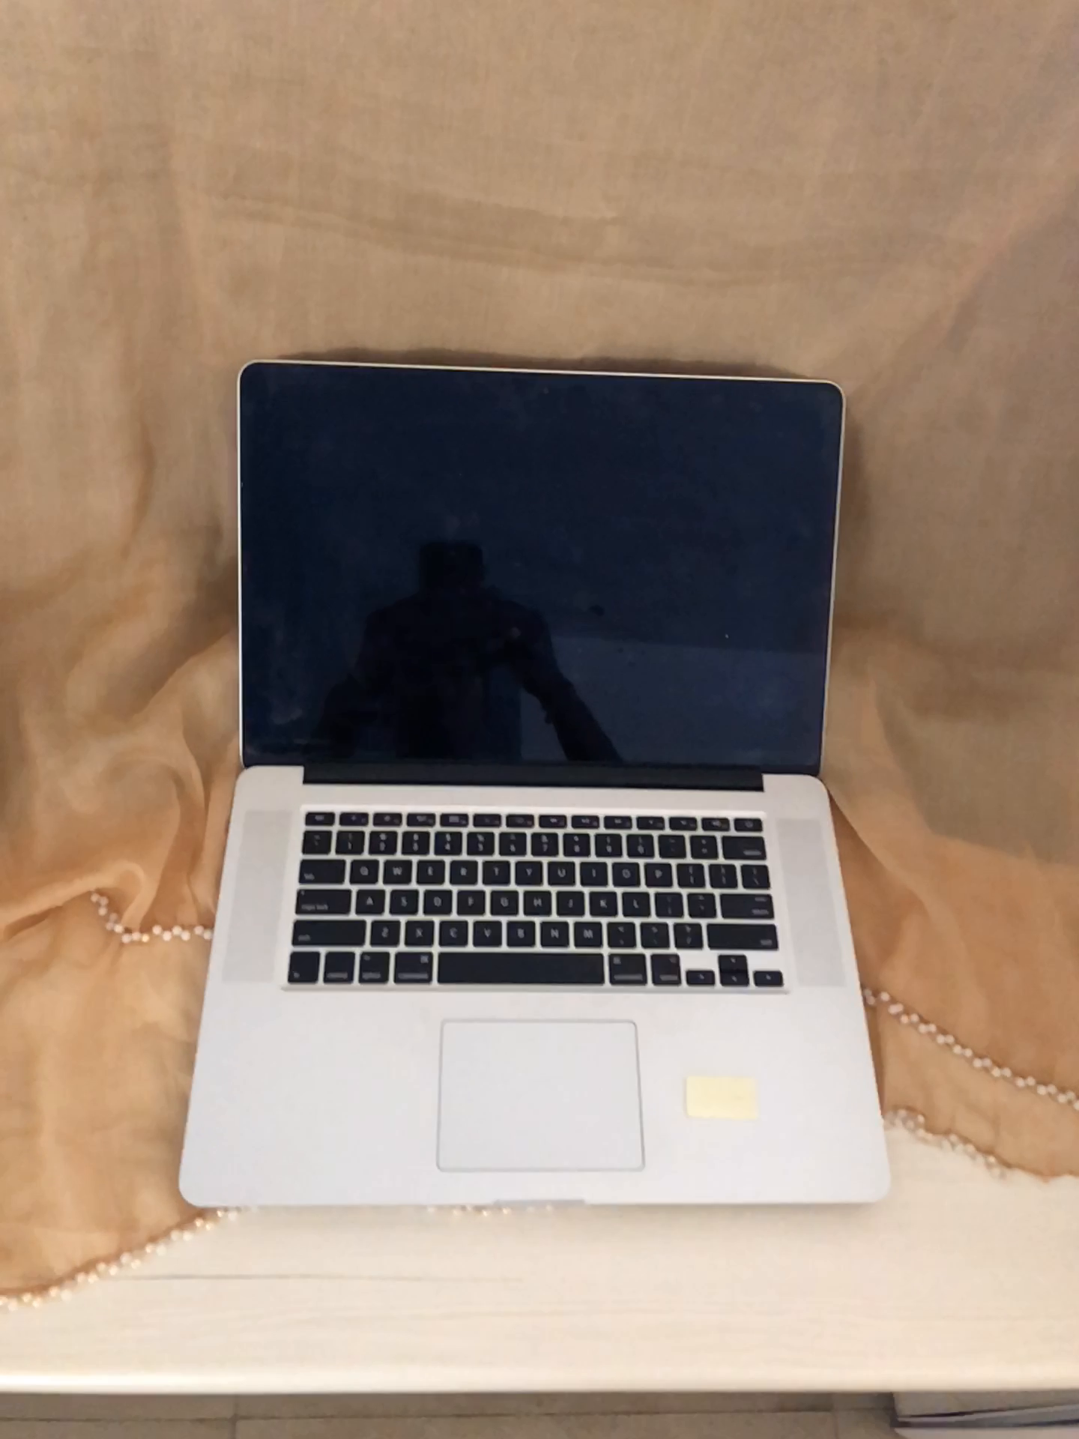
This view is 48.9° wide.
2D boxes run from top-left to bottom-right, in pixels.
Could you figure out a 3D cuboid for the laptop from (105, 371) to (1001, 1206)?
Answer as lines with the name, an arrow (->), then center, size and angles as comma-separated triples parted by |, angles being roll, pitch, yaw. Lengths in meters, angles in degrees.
laptop -> 0.003, 0.020, 0.609 | 0.336, 0.135, 0.407 | 1, 58, -3
